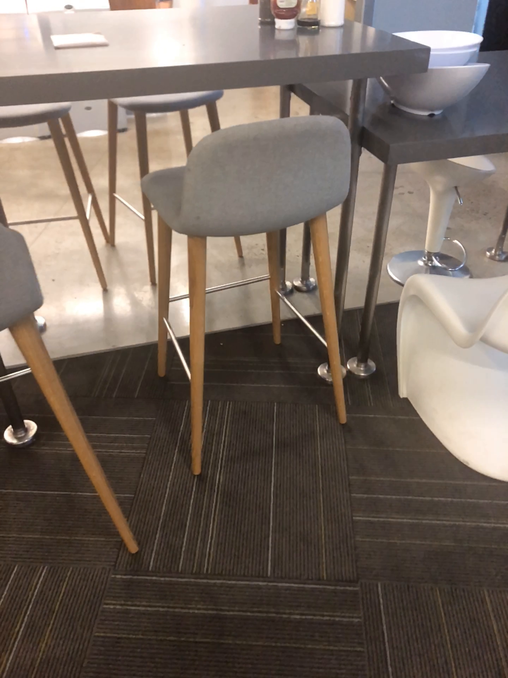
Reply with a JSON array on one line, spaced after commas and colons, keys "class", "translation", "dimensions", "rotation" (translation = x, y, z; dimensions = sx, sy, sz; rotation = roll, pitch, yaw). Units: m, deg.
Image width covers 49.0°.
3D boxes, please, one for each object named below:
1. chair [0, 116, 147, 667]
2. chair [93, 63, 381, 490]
[{"class": "chair", "translation": [-0.654, 0.103, 1.227], "dimensions": [0.572, 0.942, 0.543], "rotation": [-17, 39, -21]}, {"class": "chair", "translation": [-0.063, -0.179, 1.650], "dimensions": [0.541, 1.031, 0.543], "rotation": [-14, 38, -17]}]
